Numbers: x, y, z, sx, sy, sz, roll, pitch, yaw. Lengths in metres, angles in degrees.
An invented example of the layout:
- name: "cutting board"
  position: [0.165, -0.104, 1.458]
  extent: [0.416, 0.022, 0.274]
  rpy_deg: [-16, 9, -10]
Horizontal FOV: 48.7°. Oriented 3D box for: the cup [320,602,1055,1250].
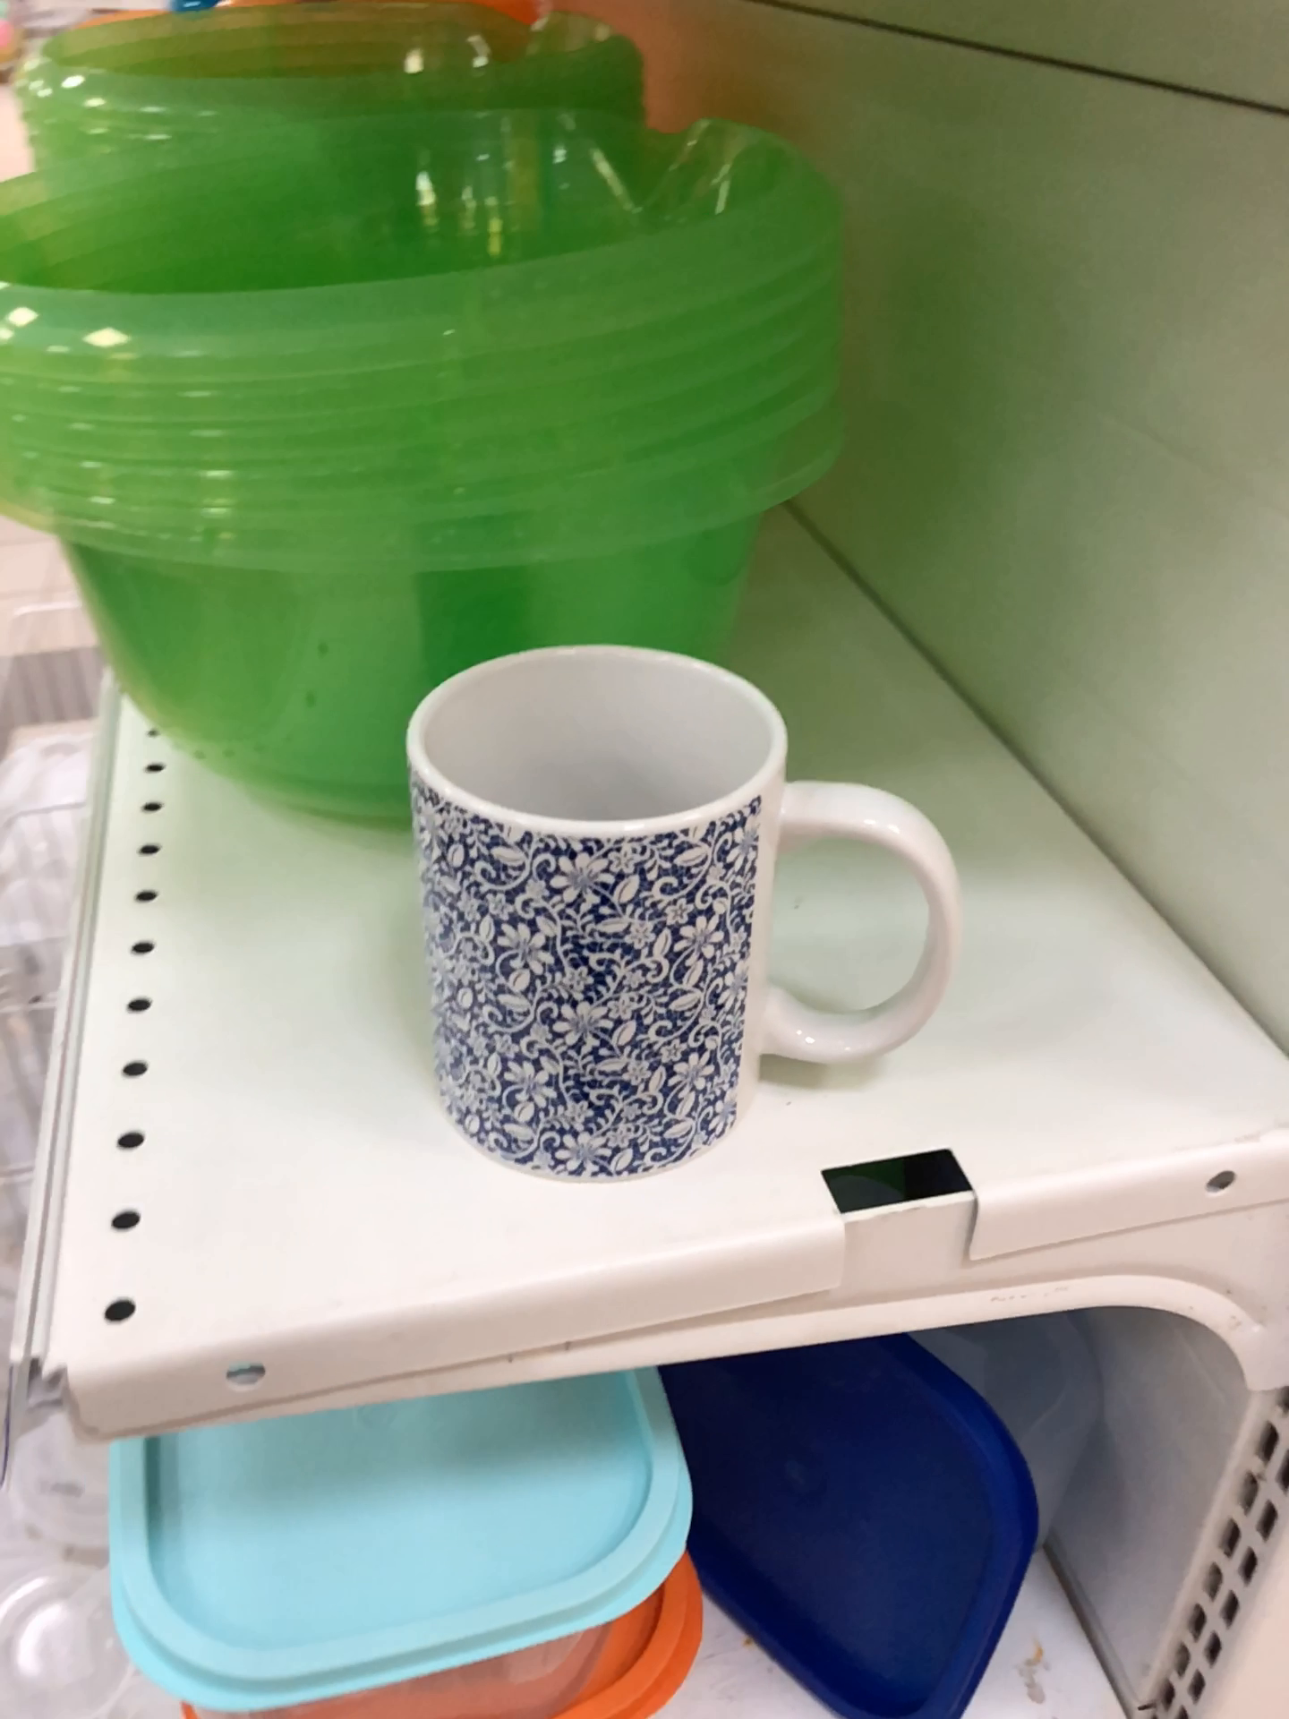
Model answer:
- name: "cup"
  position: [0.014, 0.010, 0.330]
  extent: [0.137, 0.098, 0.098]
  rpy_deg: [5, 34, 9]
